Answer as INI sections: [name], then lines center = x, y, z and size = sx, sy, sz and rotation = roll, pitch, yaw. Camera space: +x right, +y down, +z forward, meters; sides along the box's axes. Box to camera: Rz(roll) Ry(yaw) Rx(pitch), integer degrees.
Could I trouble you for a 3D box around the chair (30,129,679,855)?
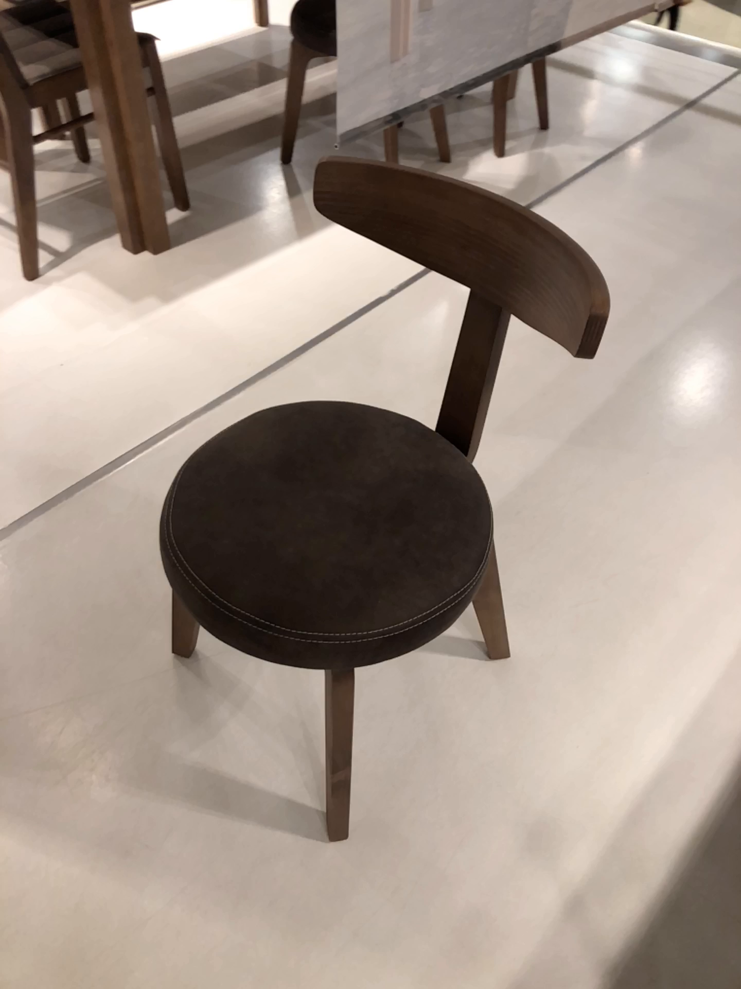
[chair]
center = -0.026, 0.000, 1.100
size = 0.492, 0.705, 0.472
rotation = -33, 55, -30
